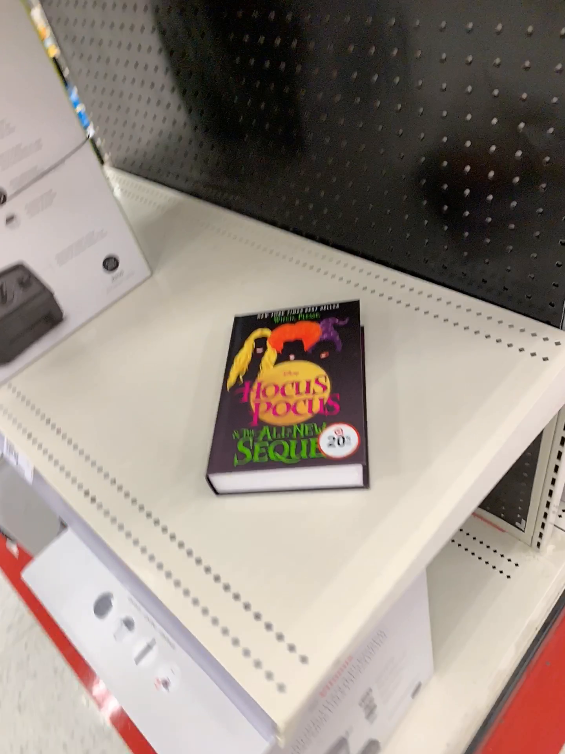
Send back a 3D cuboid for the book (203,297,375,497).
[{"bbox_3d":[0.013,0.014,0.590,0.148,0.050,0.210,-5,47,11],"label":"book"}]
